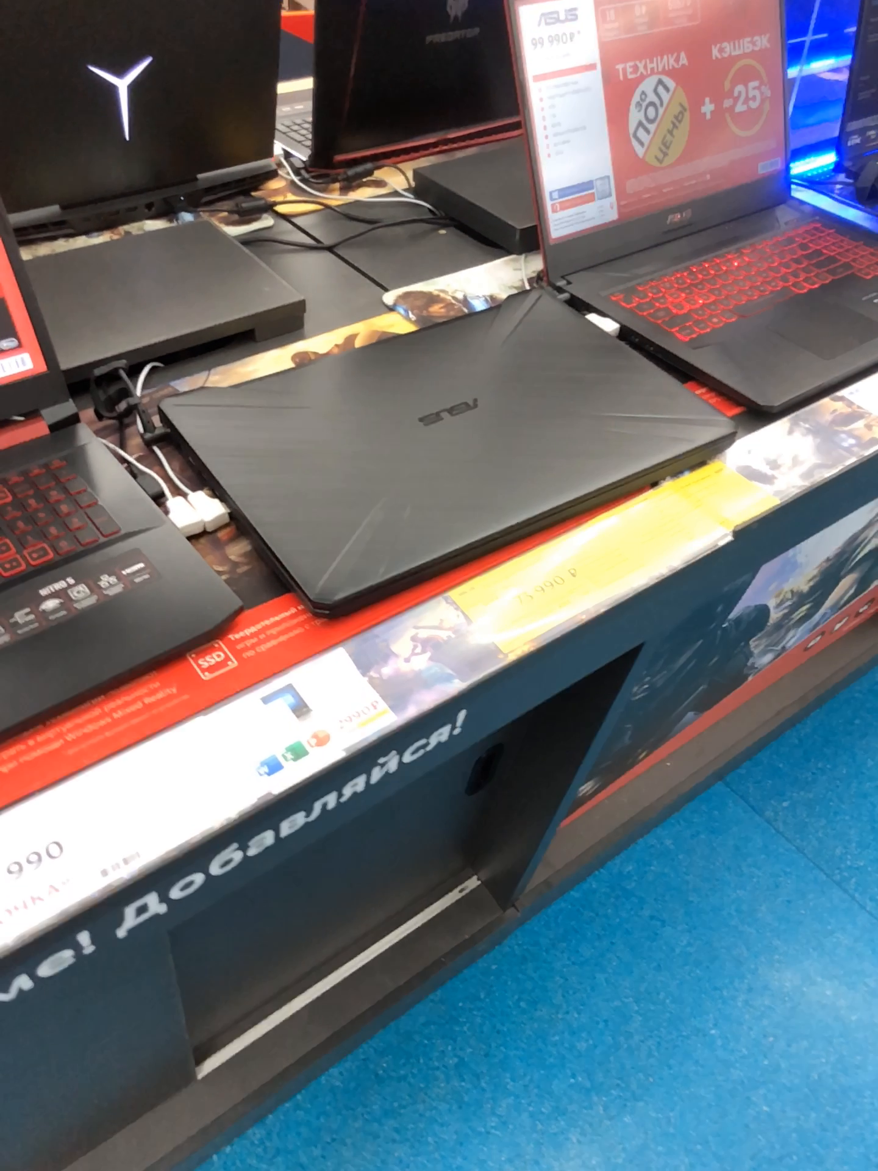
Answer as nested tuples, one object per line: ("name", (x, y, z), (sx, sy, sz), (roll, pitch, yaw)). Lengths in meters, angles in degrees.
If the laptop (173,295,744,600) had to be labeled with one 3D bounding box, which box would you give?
("laptop", (0.017, -0.138, 0.788), (0.386, 0.001, 0.262), (-24, 50, -25))
